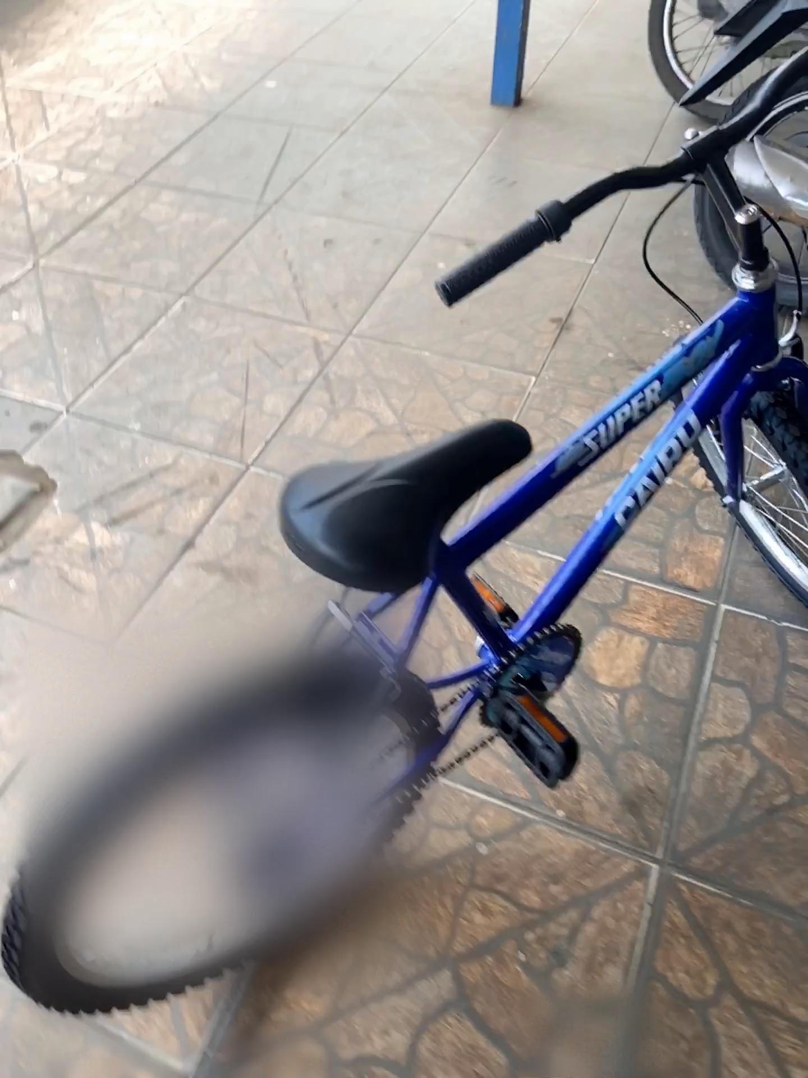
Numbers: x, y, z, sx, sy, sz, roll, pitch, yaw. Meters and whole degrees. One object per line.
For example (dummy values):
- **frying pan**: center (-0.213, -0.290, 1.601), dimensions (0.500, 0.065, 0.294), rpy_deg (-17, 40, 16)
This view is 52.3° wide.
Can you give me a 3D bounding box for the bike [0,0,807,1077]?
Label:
- **bike**: center (0.038, -0.010, 0.847), dimensions (1.185, 0.950, 0.544), rpy_deg (-39, 60, -24)
